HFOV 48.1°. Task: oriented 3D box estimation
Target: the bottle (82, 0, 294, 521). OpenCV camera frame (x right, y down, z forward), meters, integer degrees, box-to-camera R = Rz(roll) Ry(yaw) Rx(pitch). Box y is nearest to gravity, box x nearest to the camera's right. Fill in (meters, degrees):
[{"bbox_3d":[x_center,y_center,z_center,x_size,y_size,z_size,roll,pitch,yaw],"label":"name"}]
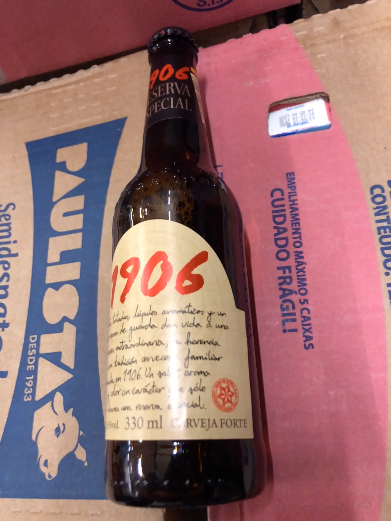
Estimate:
[{"bbox_3d":[-0.003,-0.018,0.219,0.070,0.060,0.271,-7,69,14],"label":"bottle"}]
